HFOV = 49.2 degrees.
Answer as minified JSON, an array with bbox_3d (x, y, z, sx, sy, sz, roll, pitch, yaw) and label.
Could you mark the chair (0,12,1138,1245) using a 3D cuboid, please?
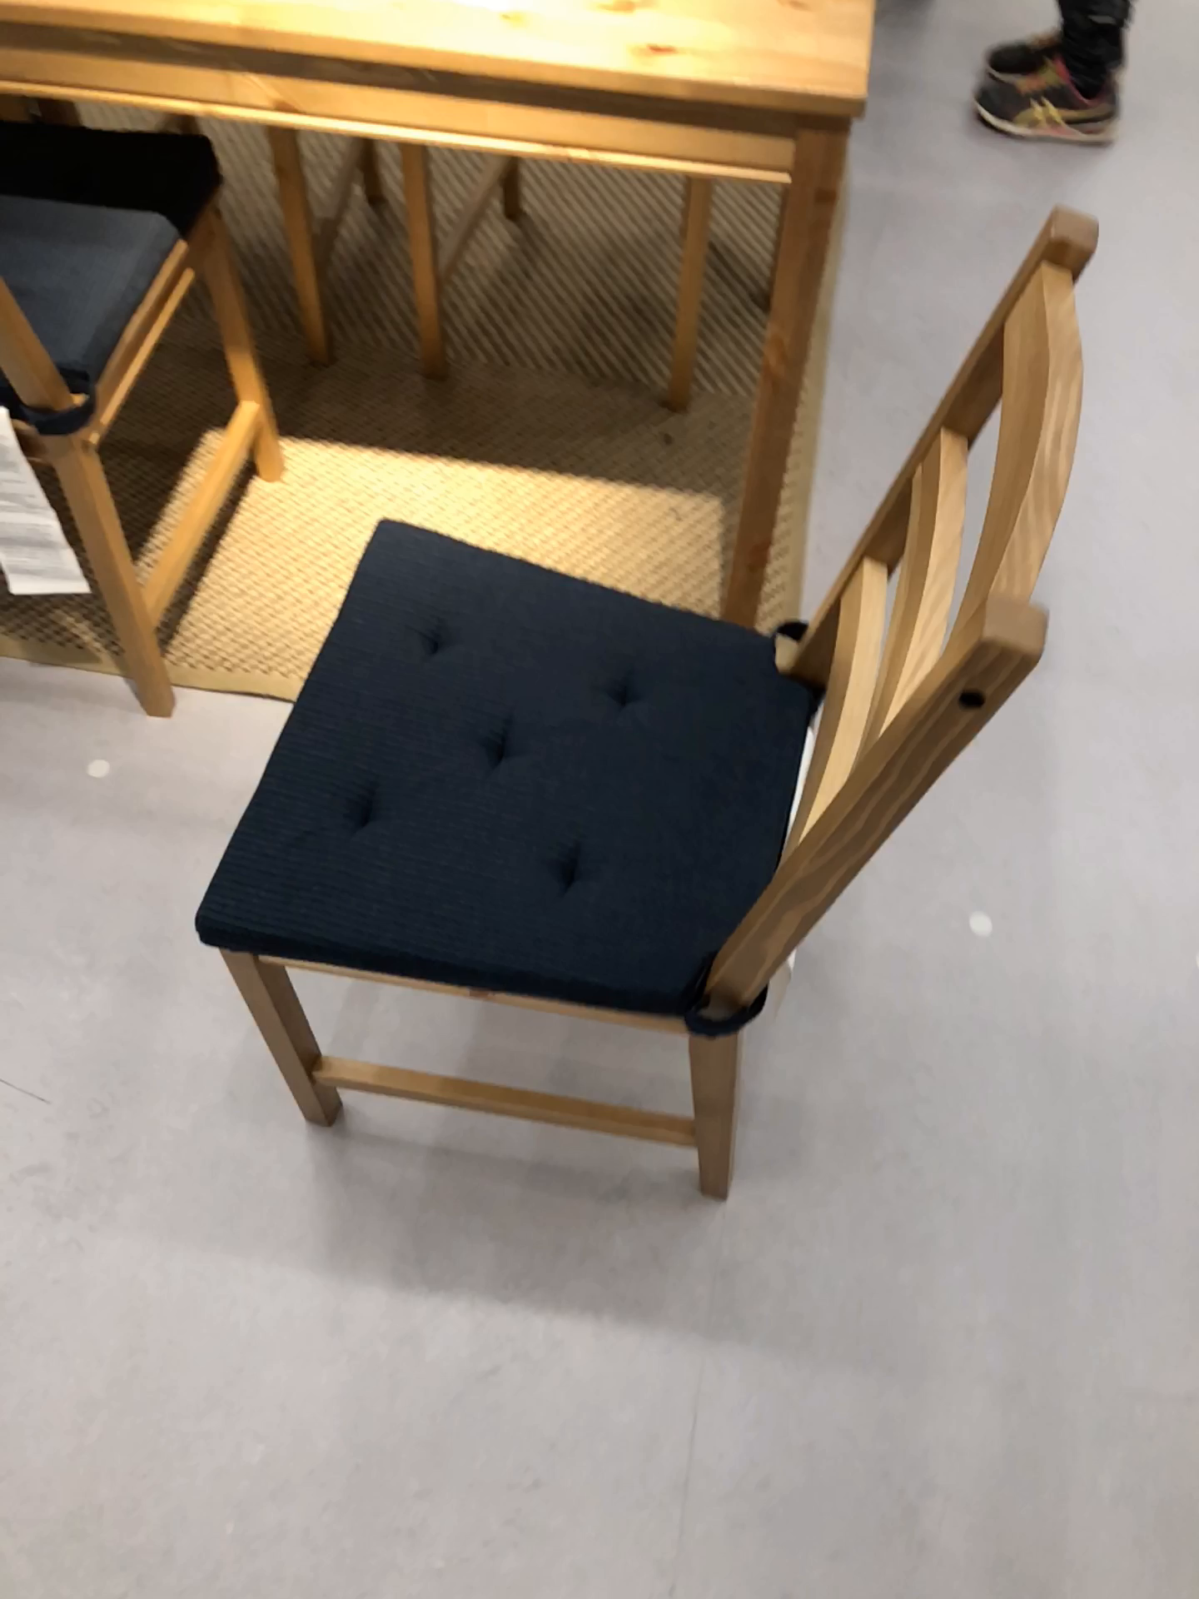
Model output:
[{"bbox_3d":[0.008,-0.036,1.055,0.520,0.866,0.442,12,58,6],"label":"chair"}]
